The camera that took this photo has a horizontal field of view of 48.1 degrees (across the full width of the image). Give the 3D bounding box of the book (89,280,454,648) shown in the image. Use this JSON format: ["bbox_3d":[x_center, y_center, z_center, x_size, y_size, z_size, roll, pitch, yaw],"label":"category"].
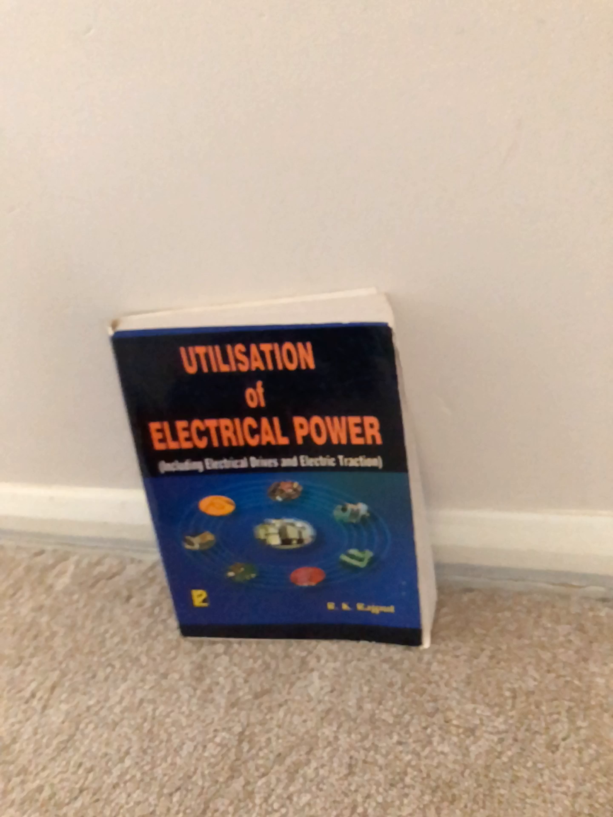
[{"bbox_3d":[-0.012,0.046,0.446,0.190,0.229,0.050,-4,24,16],"label":"book"}]
